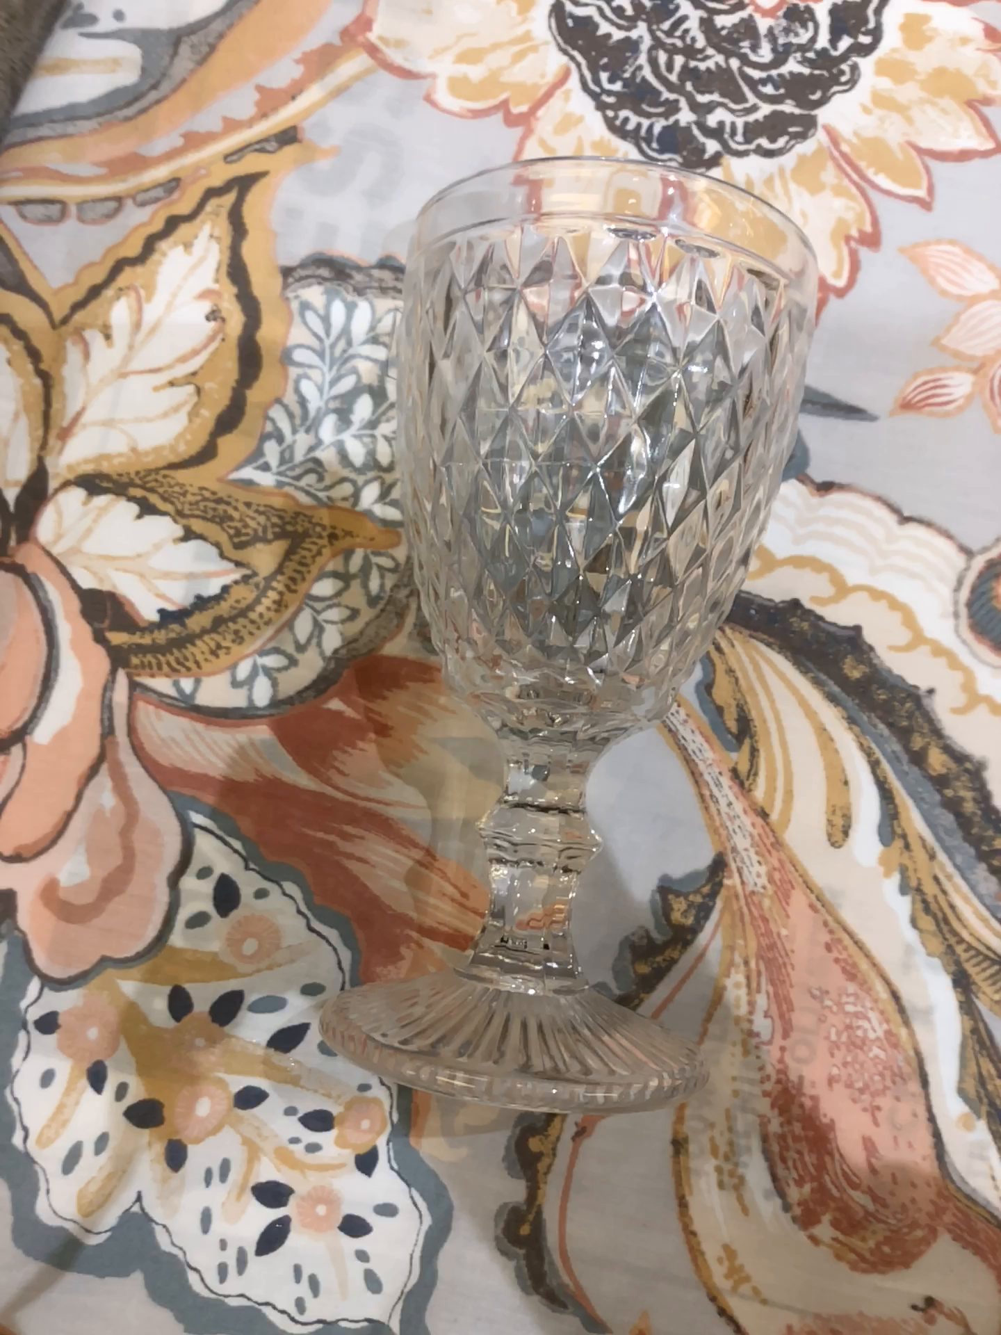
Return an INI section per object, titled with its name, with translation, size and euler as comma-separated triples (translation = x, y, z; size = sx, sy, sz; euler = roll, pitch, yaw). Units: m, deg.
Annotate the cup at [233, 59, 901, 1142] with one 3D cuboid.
[cup]
translation = 0.012, -0.010, 0.224
size = 0.090, 0.080, 0.170
euler = 9, 81, -4
